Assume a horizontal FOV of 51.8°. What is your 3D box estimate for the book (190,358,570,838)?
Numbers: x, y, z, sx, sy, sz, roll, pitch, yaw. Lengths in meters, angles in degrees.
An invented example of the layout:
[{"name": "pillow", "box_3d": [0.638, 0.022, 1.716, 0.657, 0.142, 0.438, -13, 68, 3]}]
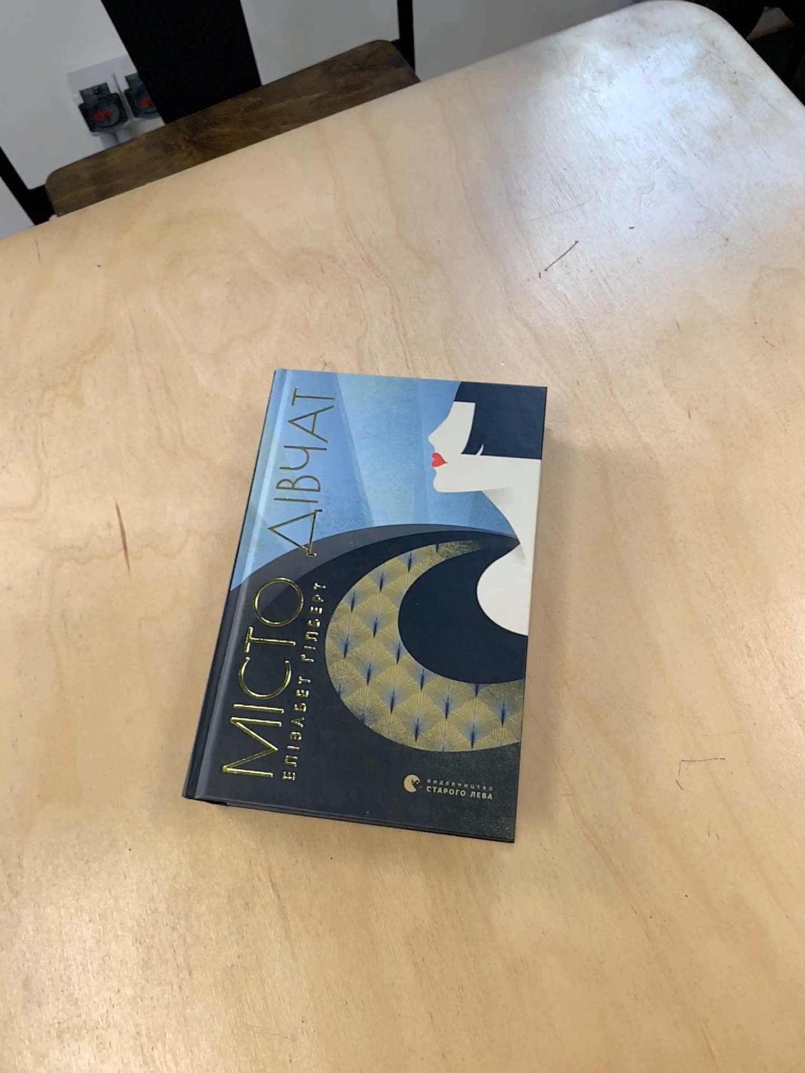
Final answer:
[{"name": "book", "box_3d": [-0.002, 0.021, 0.371, 0.134, 0.043, 0.197, 6, 70, 8]}]
